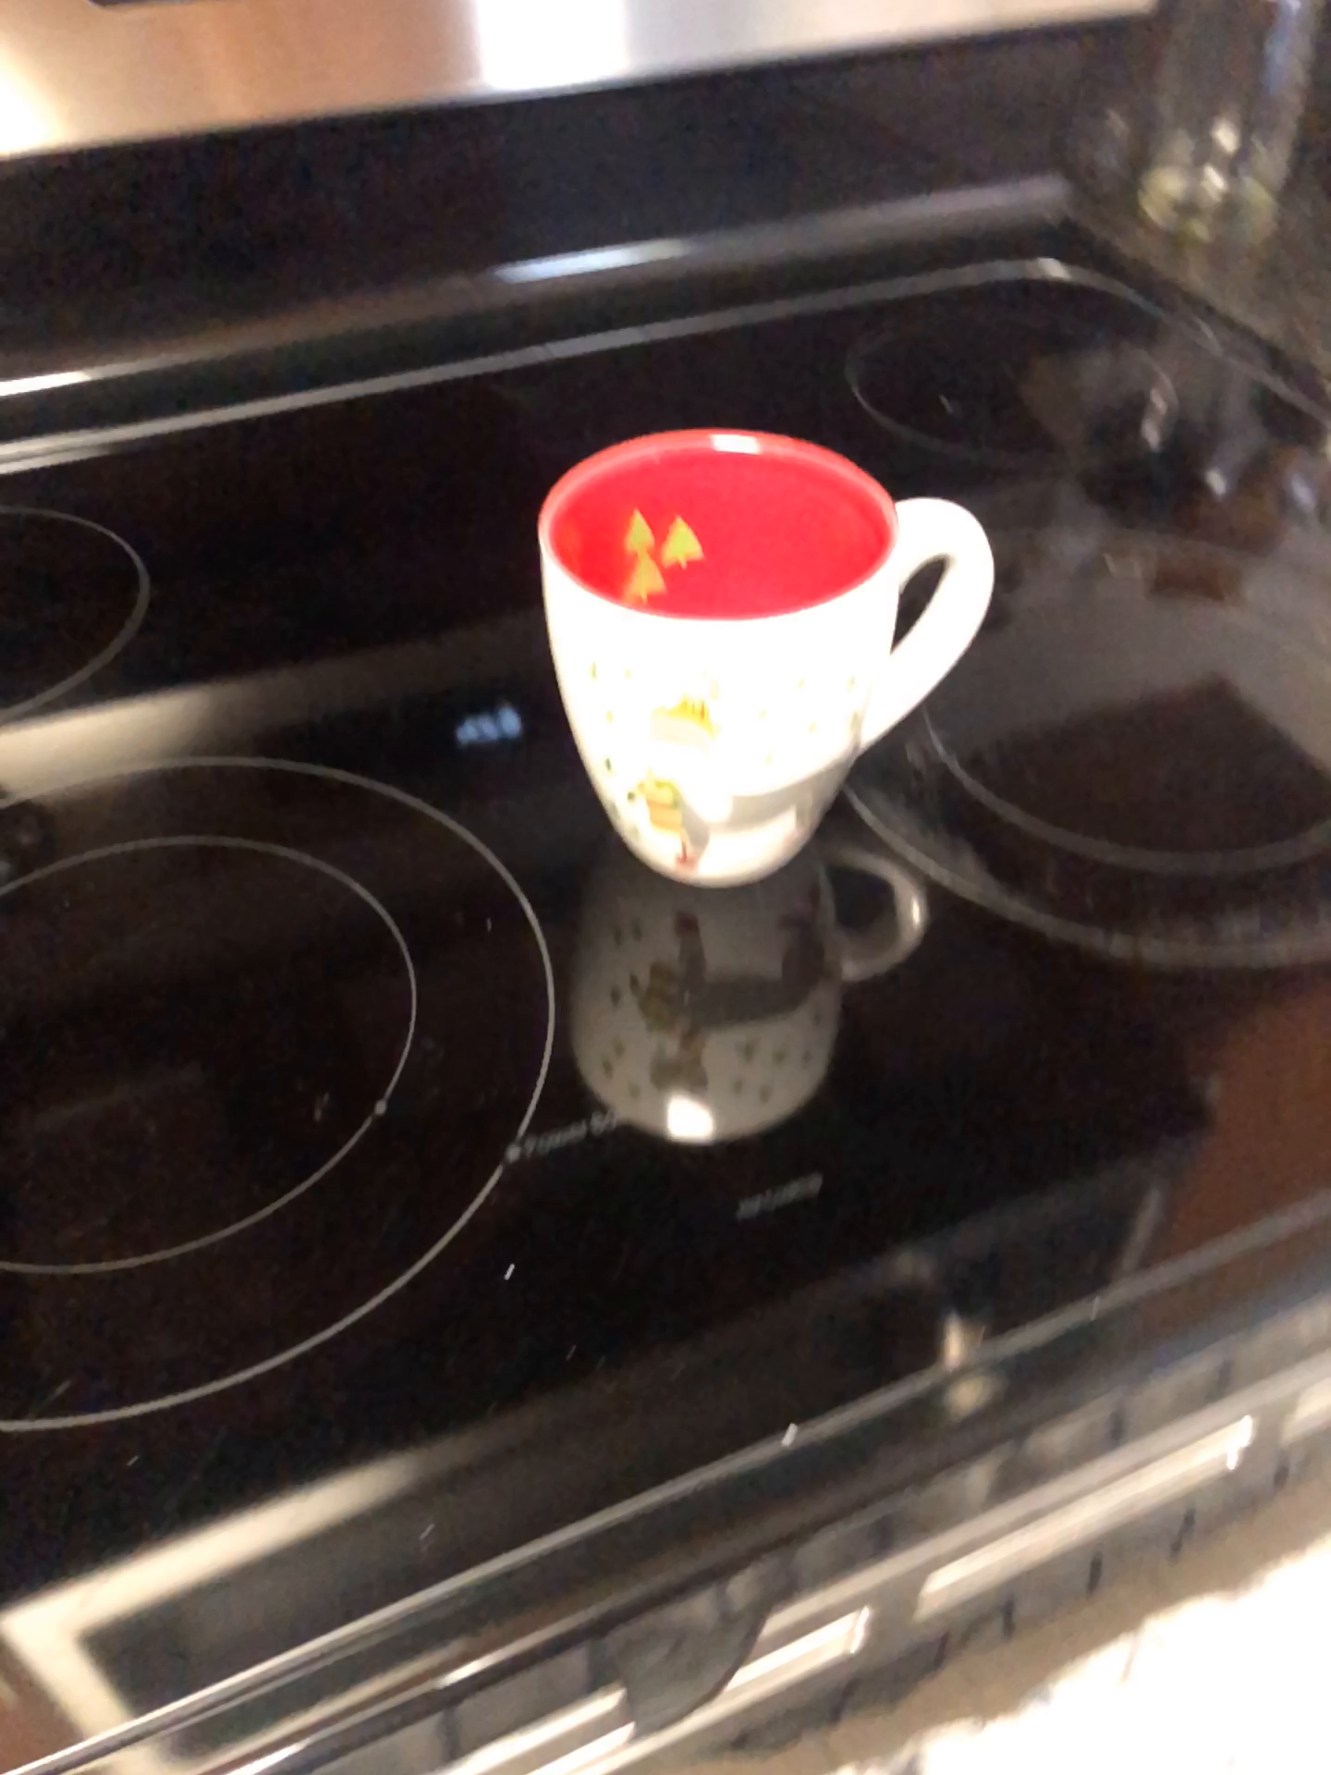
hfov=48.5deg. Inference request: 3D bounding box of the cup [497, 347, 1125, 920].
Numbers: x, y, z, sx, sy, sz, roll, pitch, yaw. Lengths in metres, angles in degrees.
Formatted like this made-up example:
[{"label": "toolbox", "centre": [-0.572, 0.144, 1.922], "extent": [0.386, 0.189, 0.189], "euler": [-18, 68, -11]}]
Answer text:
[{"label": "cup", "centre": [0.037, -0.079, 0.439], "extent": [0.140, 0.100, 0.100], "euler": [-18, 47, -19]}]
